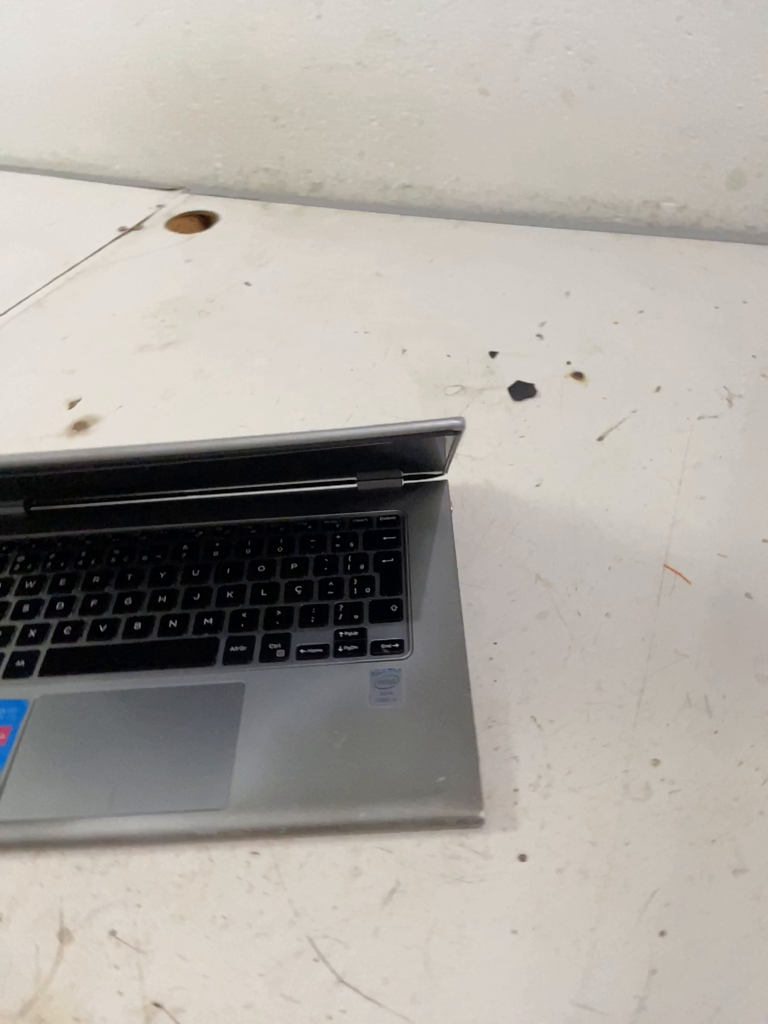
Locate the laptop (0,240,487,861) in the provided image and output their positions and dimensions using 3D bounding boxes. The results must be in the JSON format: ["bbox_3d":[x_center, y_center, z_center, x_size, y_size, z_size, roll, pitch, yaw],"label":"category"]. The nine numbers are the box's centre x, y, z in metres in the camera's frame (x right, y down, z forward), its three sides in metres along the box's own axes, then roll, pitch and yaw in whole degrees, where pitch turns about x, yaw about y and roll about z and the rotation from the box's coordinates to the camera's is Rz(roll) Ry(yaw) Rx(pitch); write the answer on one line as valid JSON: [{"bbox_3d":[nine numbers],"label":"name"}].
[{"bbox_3d":[-0.129,0.010,0.368,0.326,0.155,0.219,-4,43,3],"label":"laptop"}]
